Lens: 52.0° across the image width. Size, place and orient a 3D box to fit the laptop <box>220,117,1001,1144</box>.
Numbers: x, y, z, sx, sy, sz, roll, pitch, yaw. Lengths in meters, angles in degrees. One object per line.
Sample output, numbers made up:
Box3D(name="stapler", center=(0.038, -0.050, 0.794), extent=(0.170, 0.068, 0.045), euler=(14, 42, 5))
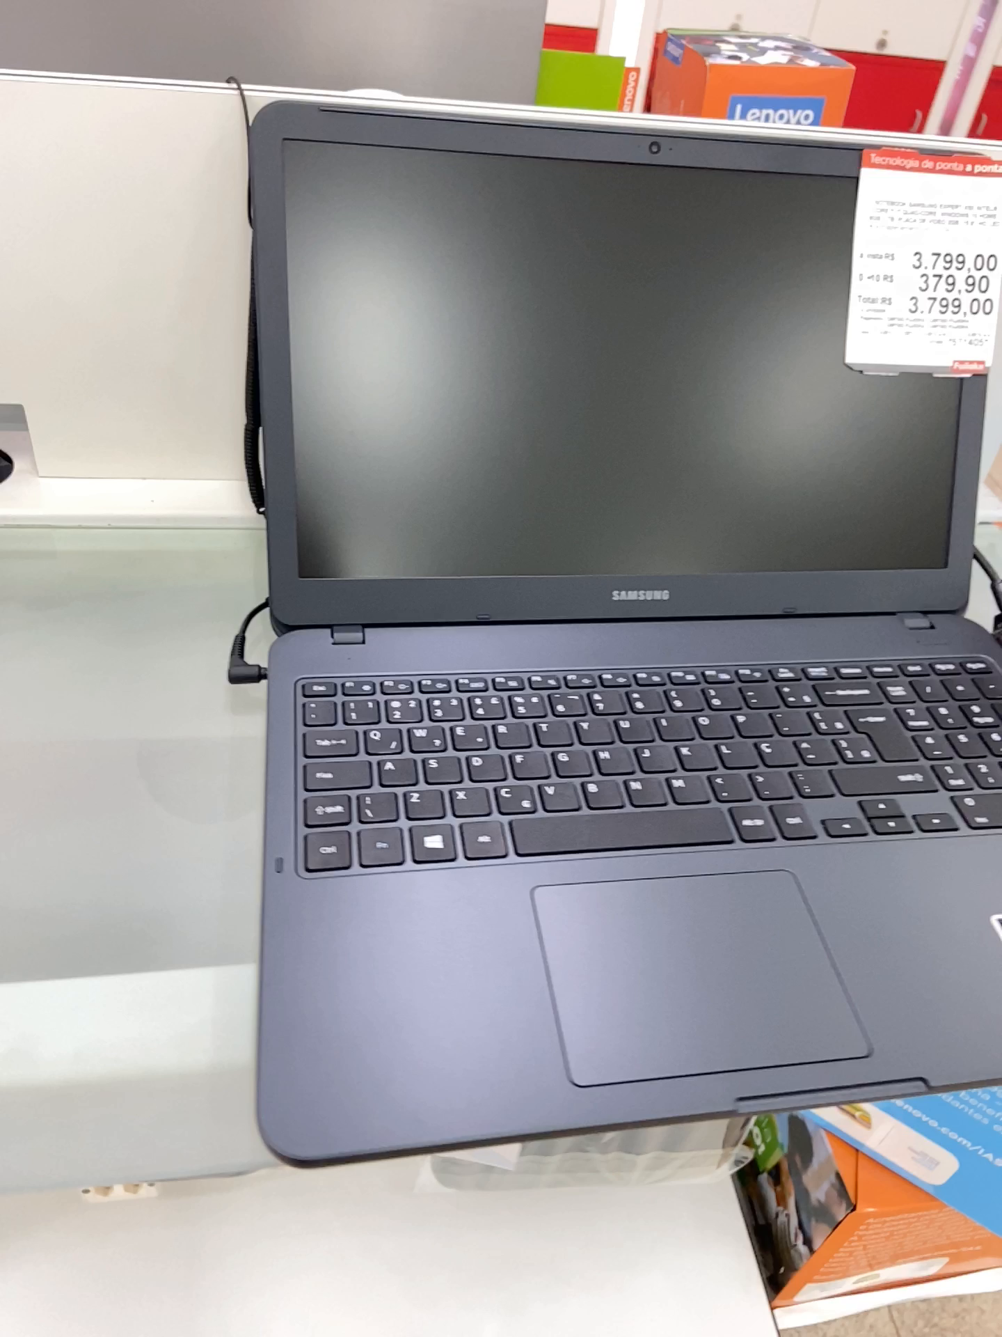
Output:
Box3D(name="laptop", center=(0.094, -0.056, 0.419), extent=(0.371, 0.192, 0.370), euler=(-2, 42, -10))
